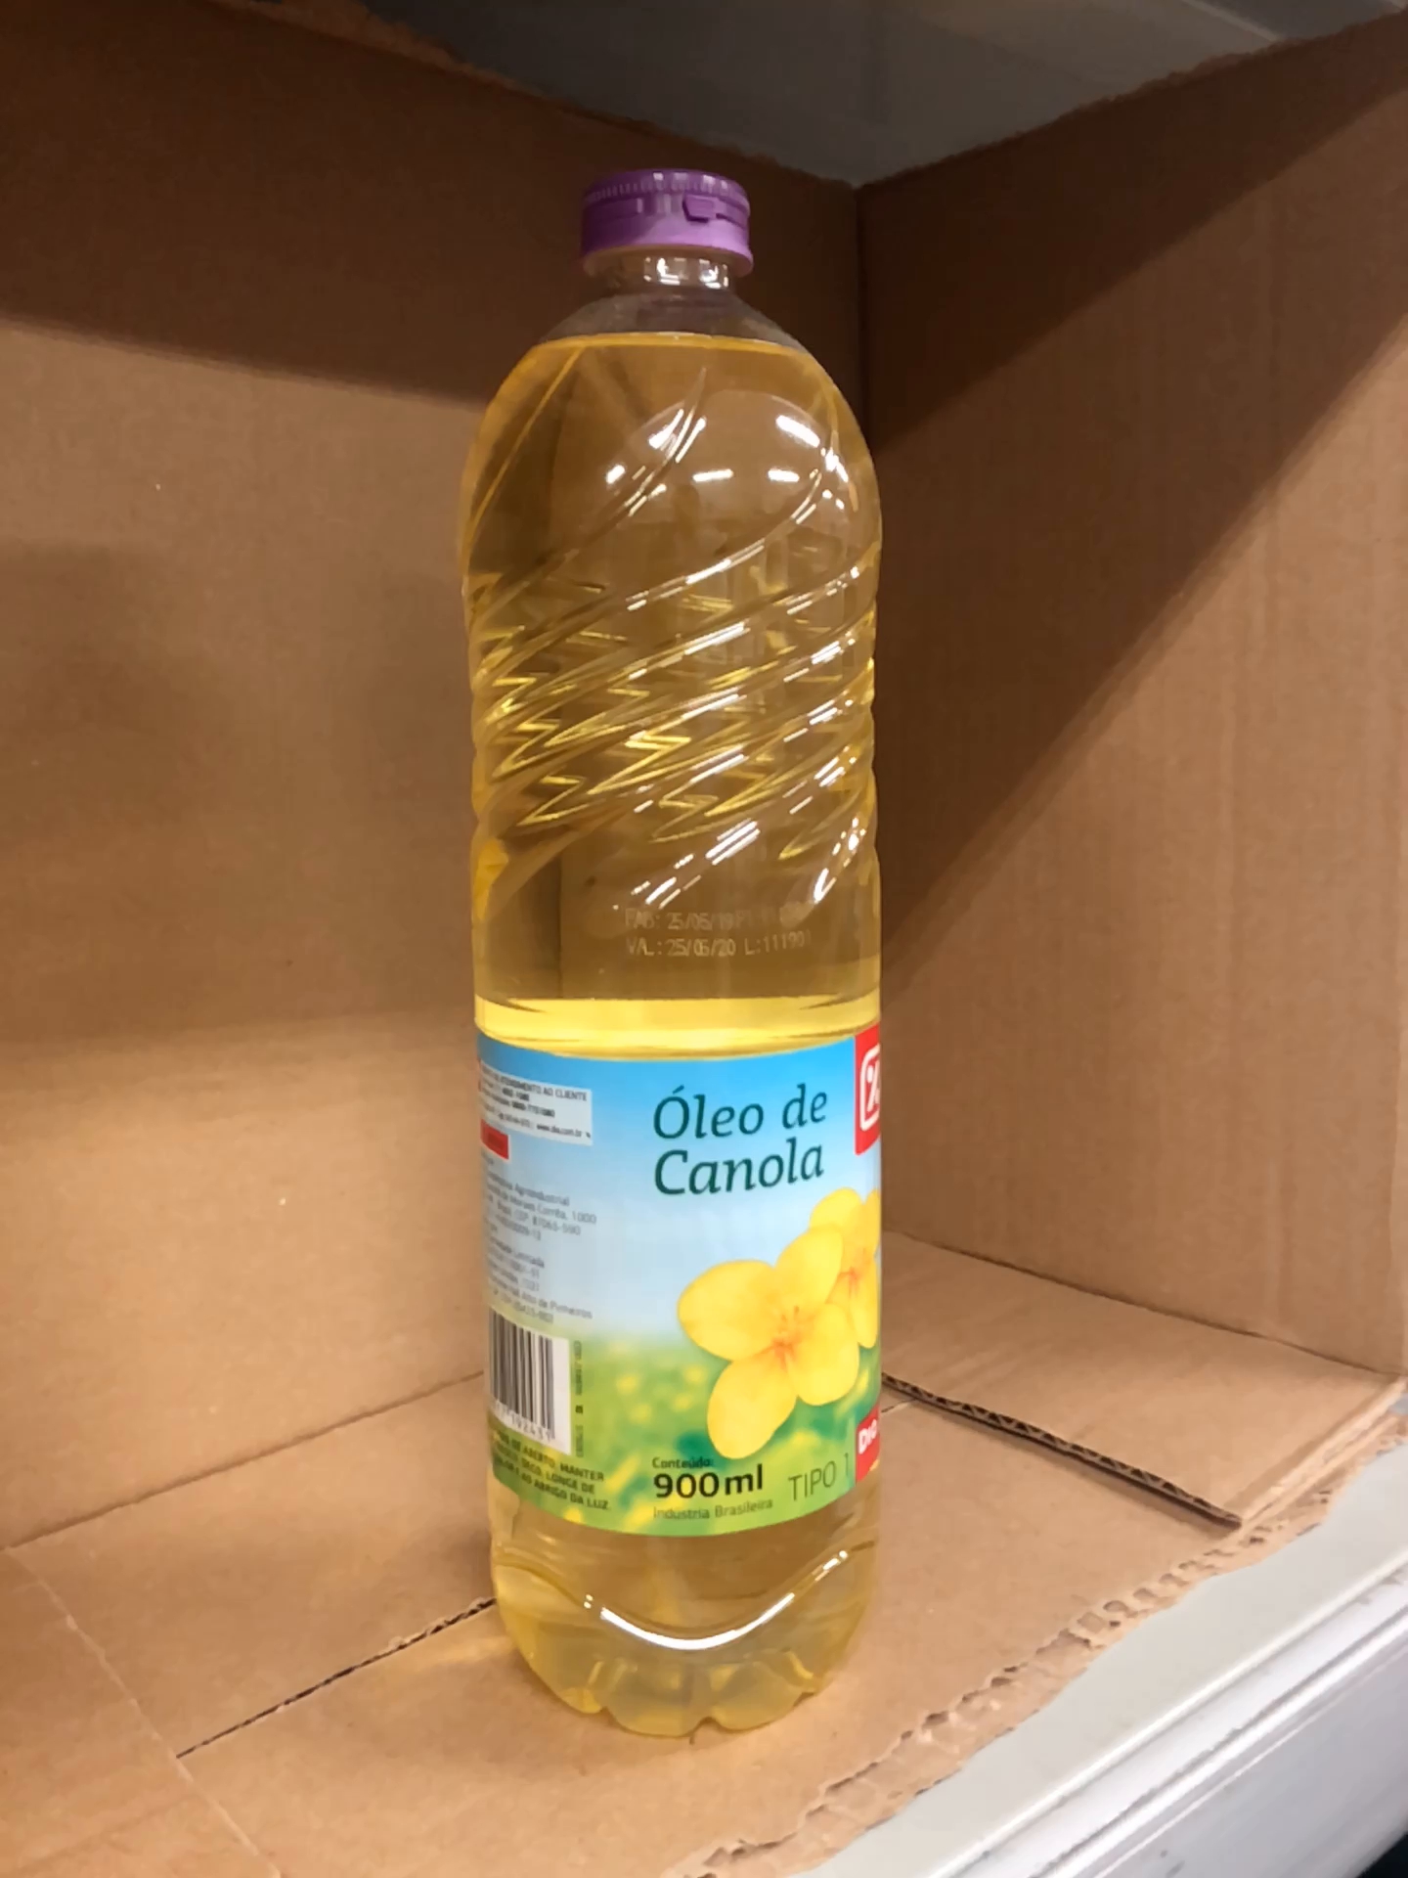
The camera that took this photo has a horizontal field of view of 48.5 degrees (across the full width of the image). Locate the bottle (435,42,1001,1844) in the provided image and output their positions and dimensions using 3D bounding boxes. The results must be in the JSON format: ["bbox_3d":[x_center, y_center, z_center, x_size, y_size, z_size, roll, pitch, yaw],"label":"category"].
[{"bbox_3d":[0.002,0.005,0.276,0.080,0.269,0.050,-7,12,-43],"label":"bottle"}]
